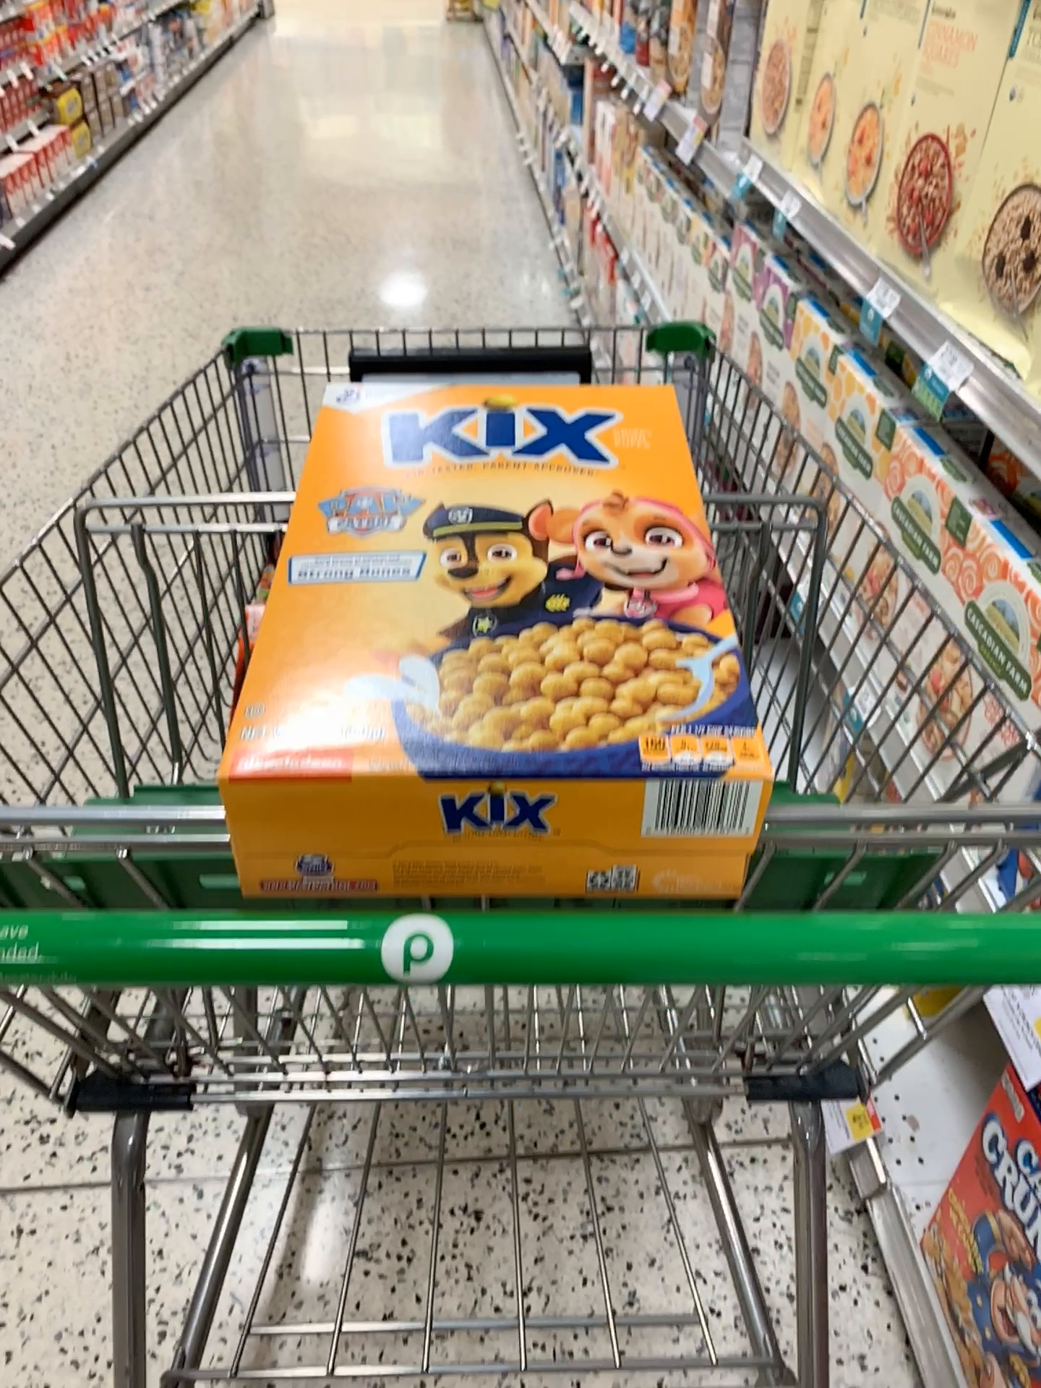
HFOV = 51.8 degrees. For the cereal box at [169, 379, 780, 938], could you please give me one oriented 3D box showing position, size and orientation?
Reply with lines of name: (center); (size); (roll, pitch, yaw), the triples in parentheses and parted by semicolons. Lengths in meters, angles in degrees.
cereal box: (-0.018, -0.041, 0.516); (0.210, 0.079, 0.324); (0, 42, -1)
